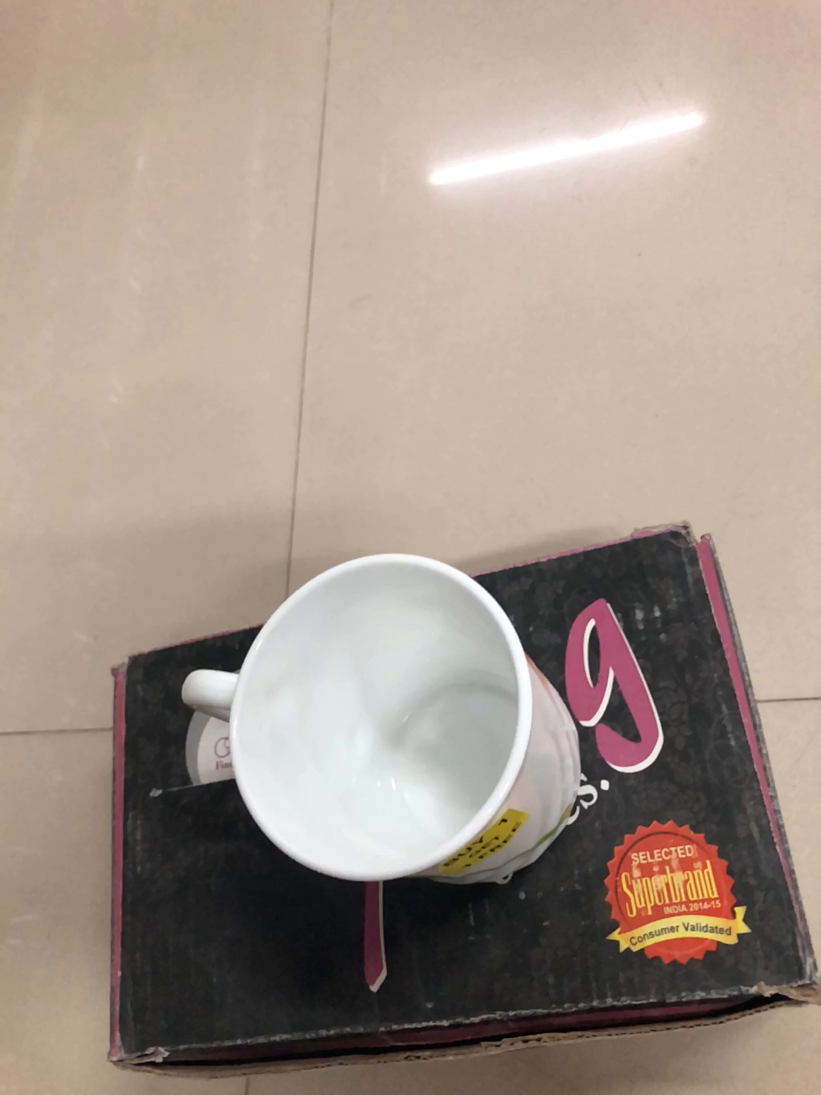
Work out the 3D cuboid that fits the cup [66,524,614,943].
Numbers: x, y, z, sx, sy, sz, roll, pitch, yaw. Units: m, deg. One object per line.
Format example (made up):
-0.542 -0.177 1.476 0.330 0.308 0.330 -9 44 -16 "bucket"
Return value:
-0.011 0.052 0.256 0.110 0.090 0.080 6 71 23 "cup"
